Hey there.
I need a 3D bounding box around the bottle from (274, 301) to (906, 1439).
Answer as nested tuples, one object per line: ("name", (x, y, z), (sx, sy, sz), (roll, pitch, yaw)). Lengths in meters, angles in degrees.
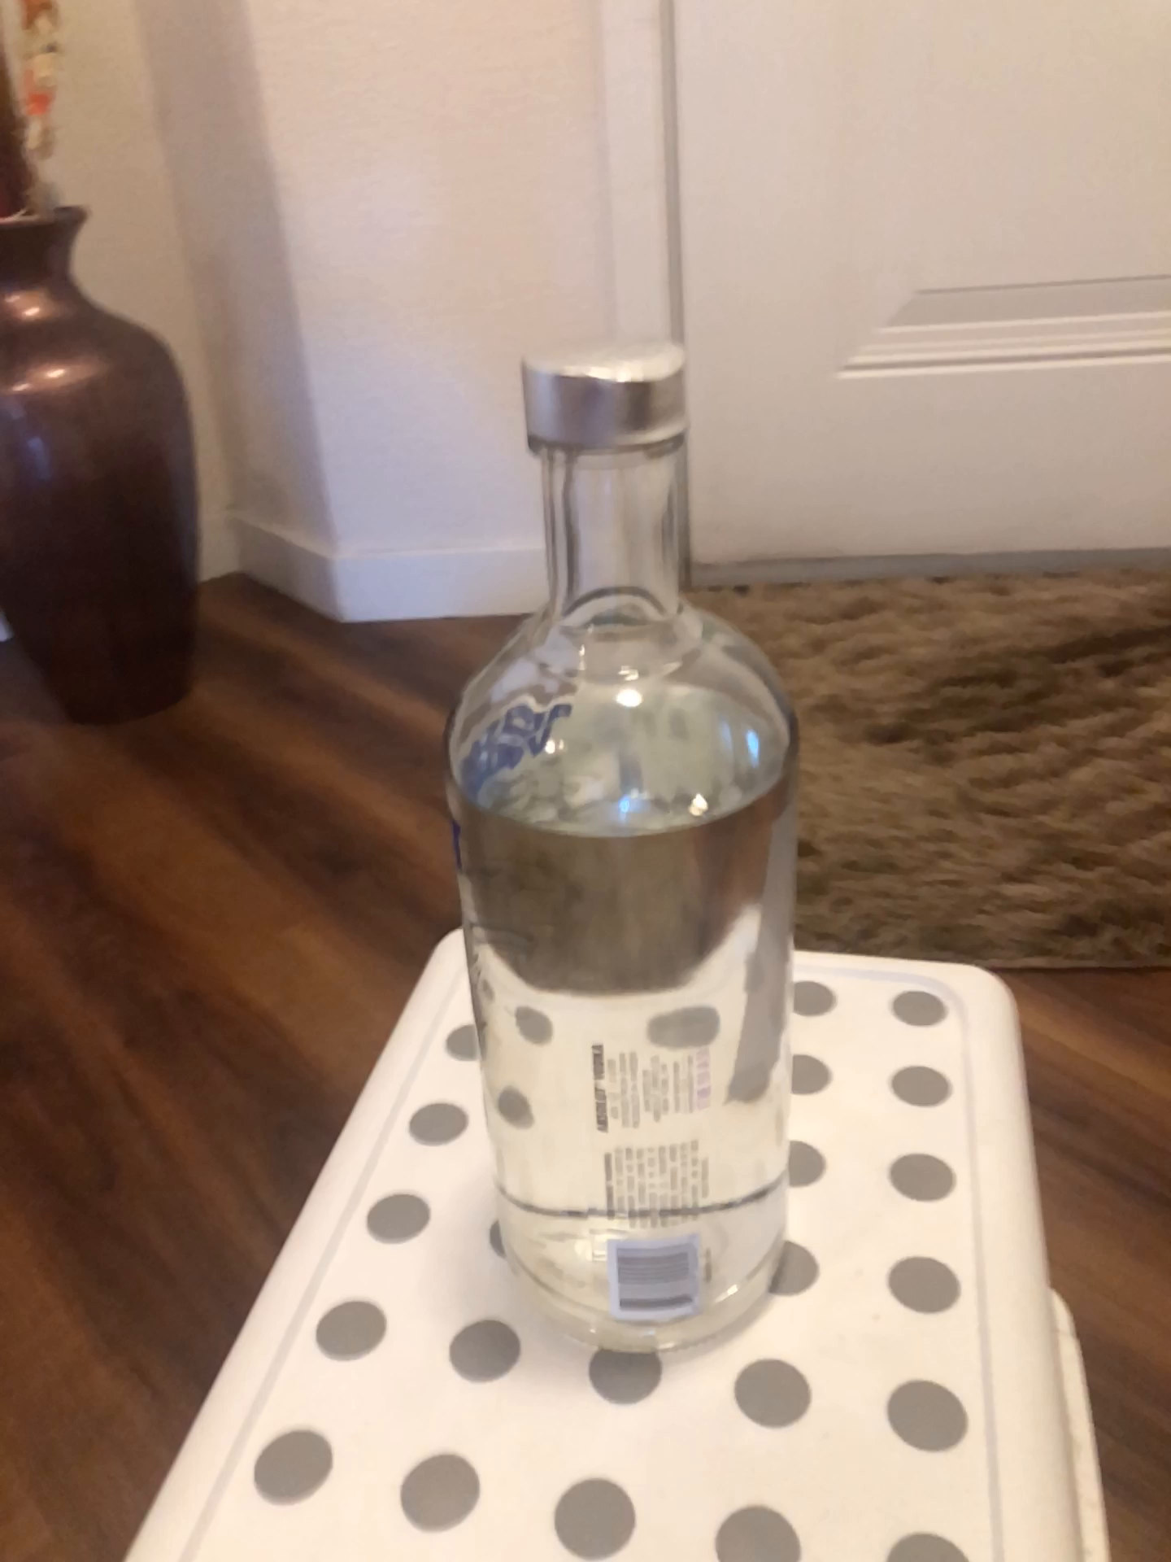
("bottle", (0.011, 0.026, 0.337), (0.100, 0.269, 0.090), (16, 35, 32))
